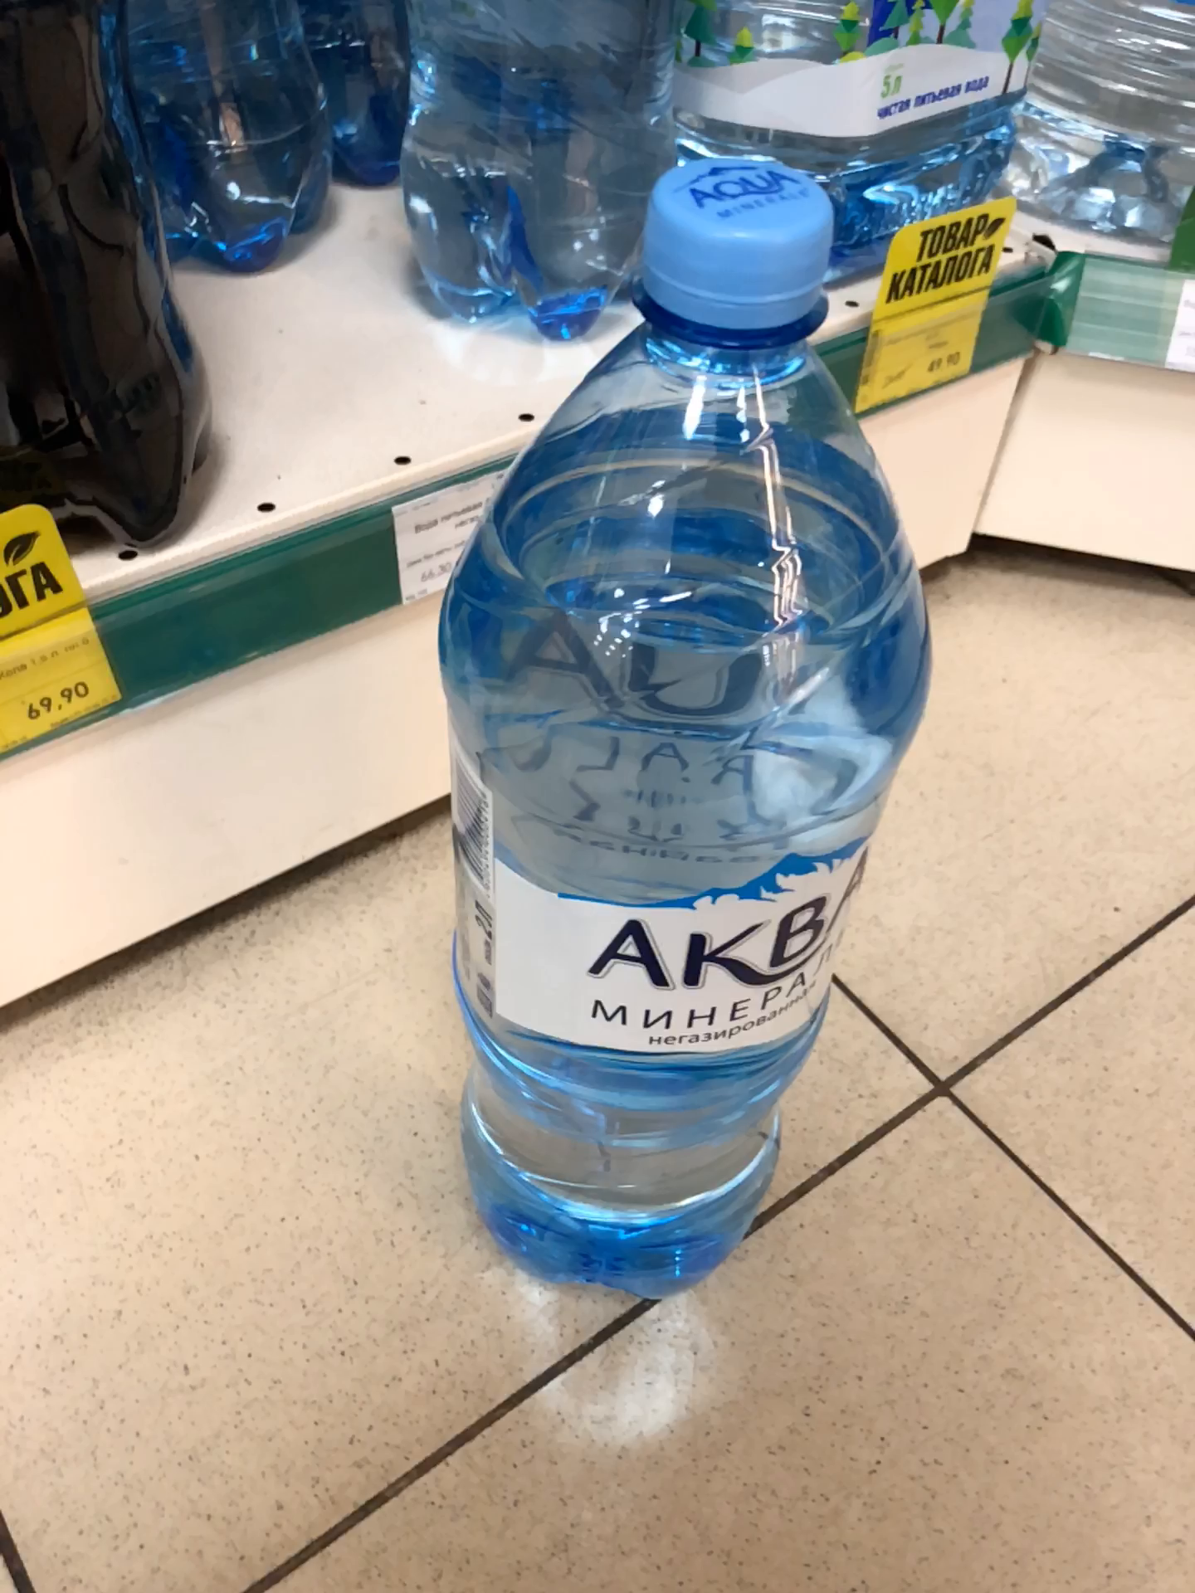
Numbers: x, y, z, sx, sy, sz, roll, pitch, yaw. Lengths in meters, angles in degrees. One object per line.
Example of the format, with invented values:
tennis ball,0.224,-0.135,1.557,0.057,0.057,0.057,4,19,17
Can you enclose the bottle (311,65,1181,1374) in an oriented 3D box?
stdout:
bottle,0.014,0.017,0.324,0.105,0.323,0.088,-19,51,-20
